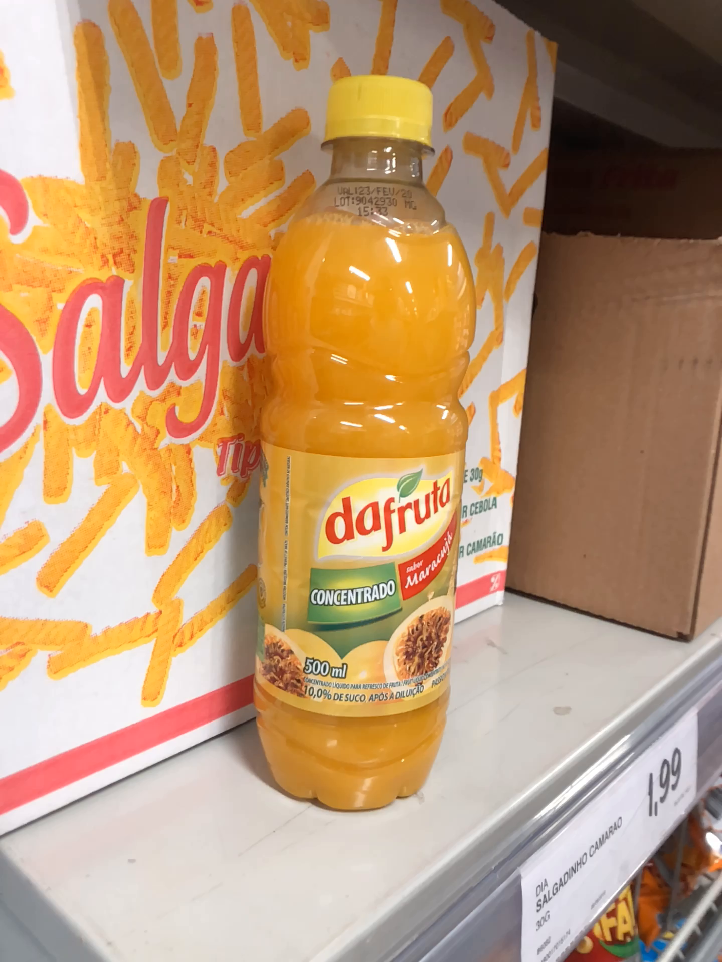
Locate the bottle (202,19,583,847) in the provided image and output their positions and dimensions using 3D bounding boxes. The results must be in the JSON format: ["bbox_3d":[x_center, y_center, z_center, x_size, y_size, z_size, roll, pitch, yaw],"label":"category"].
[{"bbox_3d":[0.003,-0.010,0.233,0.070,0.199,0.060,-4,16,-33],"label":"bottle"}]
